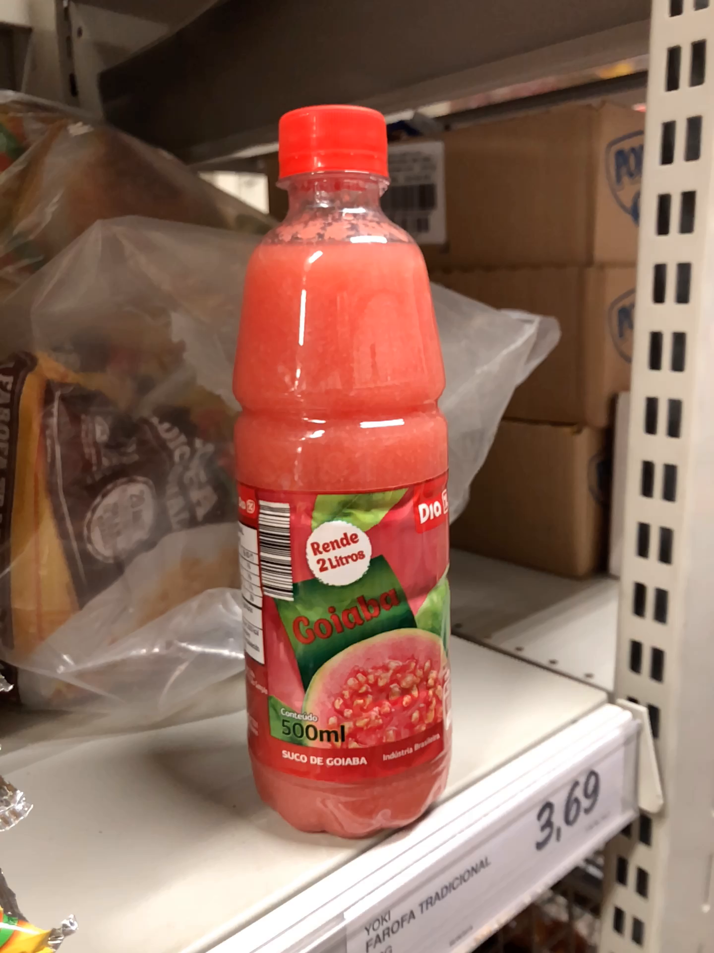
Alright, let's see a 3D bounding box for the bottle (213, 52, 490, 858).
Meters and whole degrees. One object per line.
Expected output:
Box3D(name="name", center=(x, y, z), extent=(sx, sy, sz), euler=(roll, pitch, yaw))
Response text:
Box3D(name="bottle", center=(0.003, -0.004, 0.256), extent=(0.070, 0.219, 0.070), euler=(0, 11, 0))
